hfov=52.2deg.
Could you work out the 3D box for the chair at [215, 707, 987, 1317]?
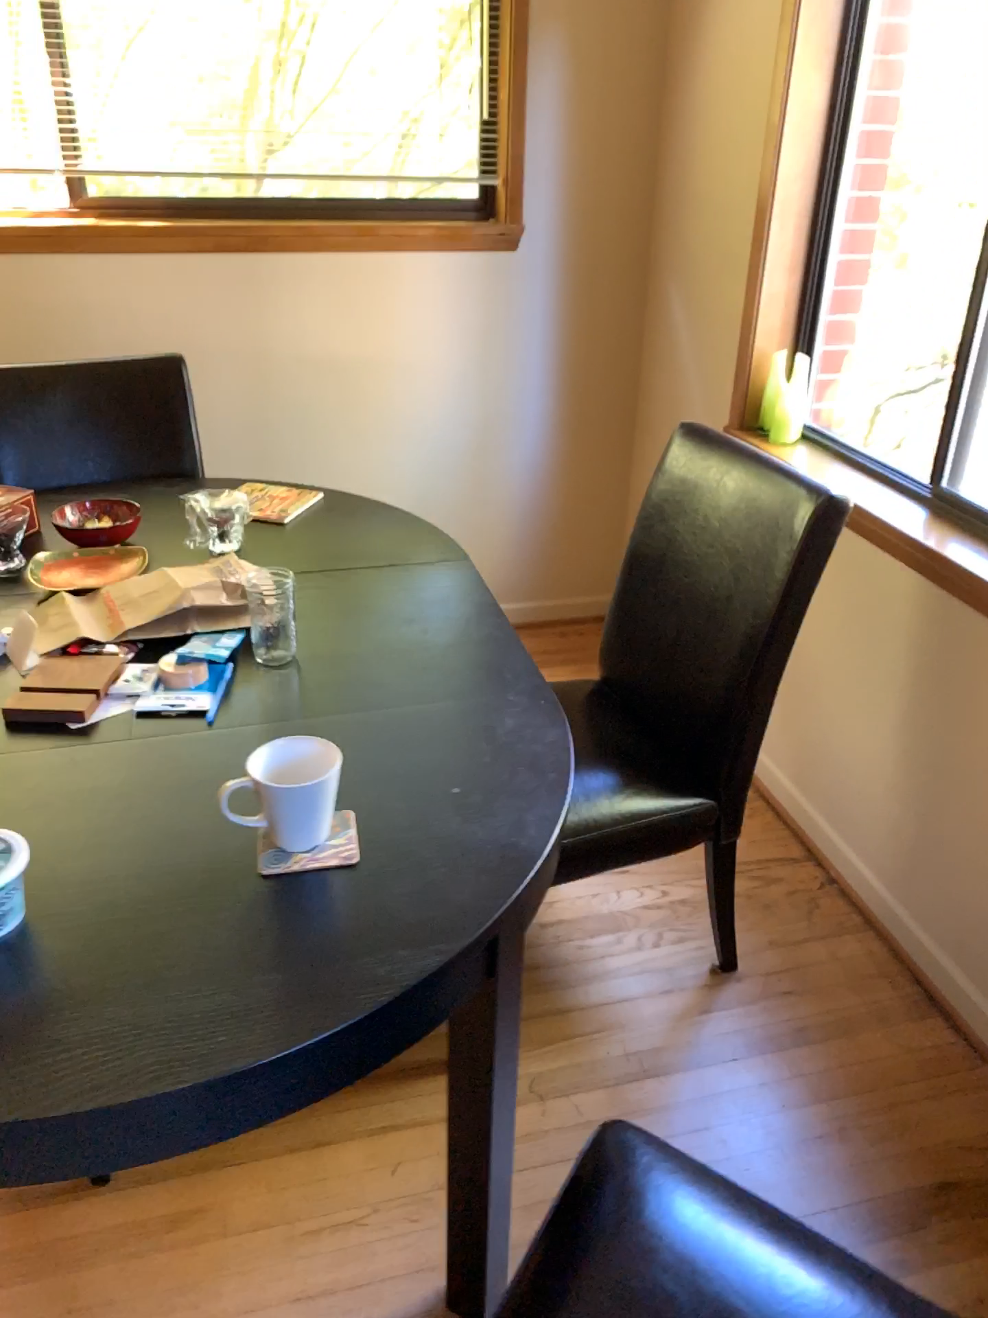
[{"bbox_3d":[0.297,0.729,0.808,0.651,1.084,0.622,15,31,25],"label":"chair"}]
